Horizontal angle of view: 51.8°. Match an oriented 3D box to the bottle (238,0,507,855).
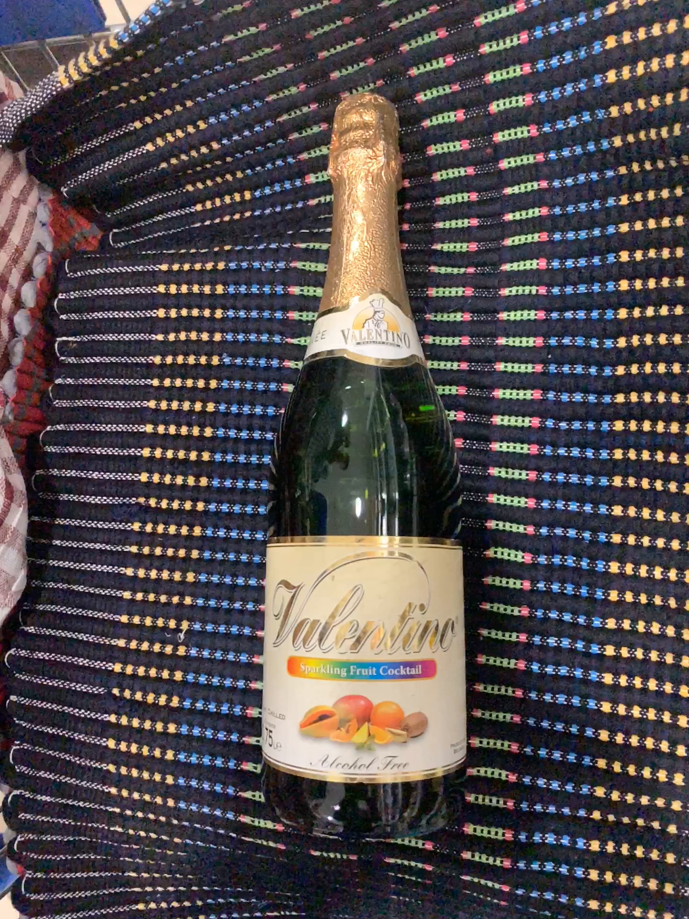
[{"bbox_3d":[0.016,-0.035,0.308,0.090,0.080,0.350,0,79,7],"label":"bottle"}]
